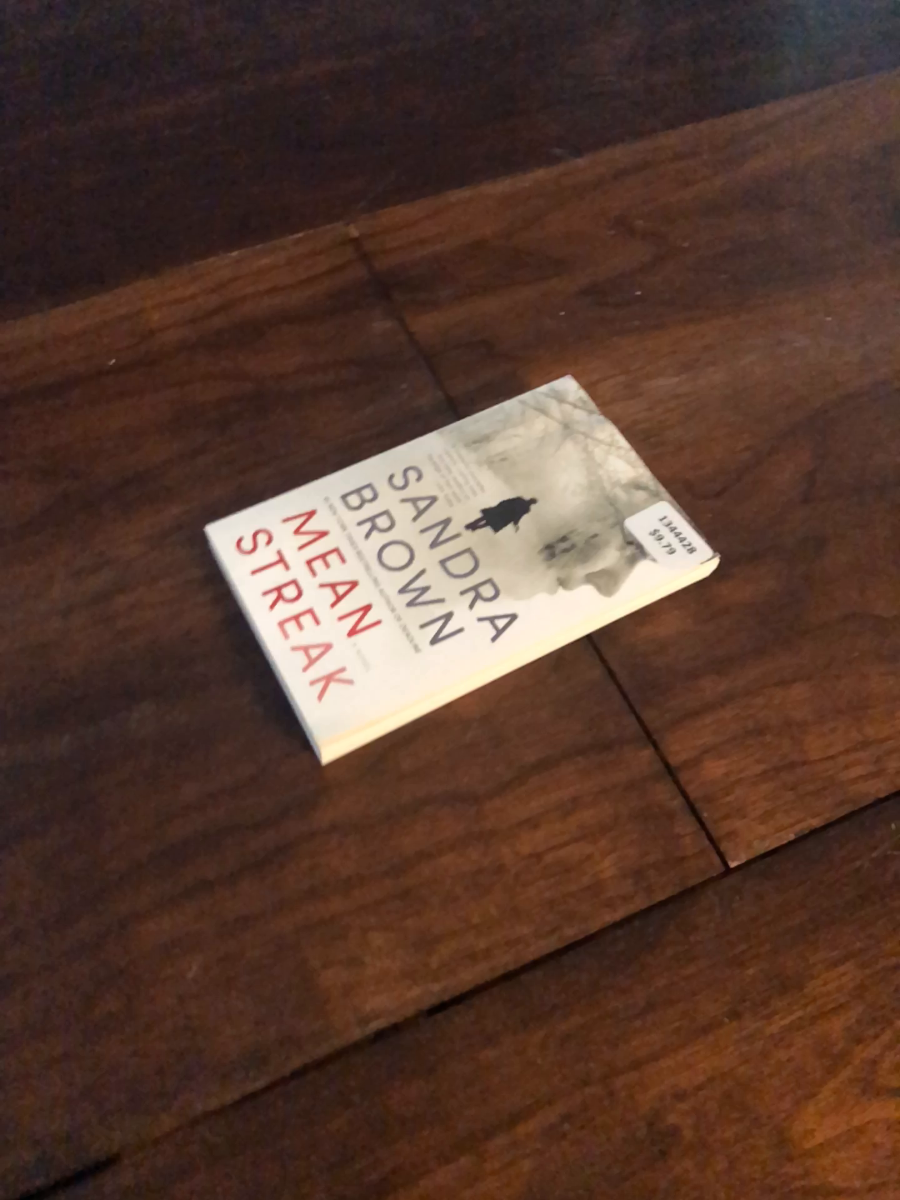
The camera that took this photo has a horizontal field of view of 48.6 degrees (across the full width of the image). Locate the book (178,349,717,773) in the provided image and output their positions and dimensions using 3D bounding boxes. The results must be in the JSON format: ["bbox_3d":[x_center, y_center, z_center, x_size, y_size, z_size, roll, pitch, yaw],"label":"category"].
[{"bbox_3d":[-0.003,-0.028,0.469,0.207,0.030,0.137,-25,60,-13],"label":"book"}]
